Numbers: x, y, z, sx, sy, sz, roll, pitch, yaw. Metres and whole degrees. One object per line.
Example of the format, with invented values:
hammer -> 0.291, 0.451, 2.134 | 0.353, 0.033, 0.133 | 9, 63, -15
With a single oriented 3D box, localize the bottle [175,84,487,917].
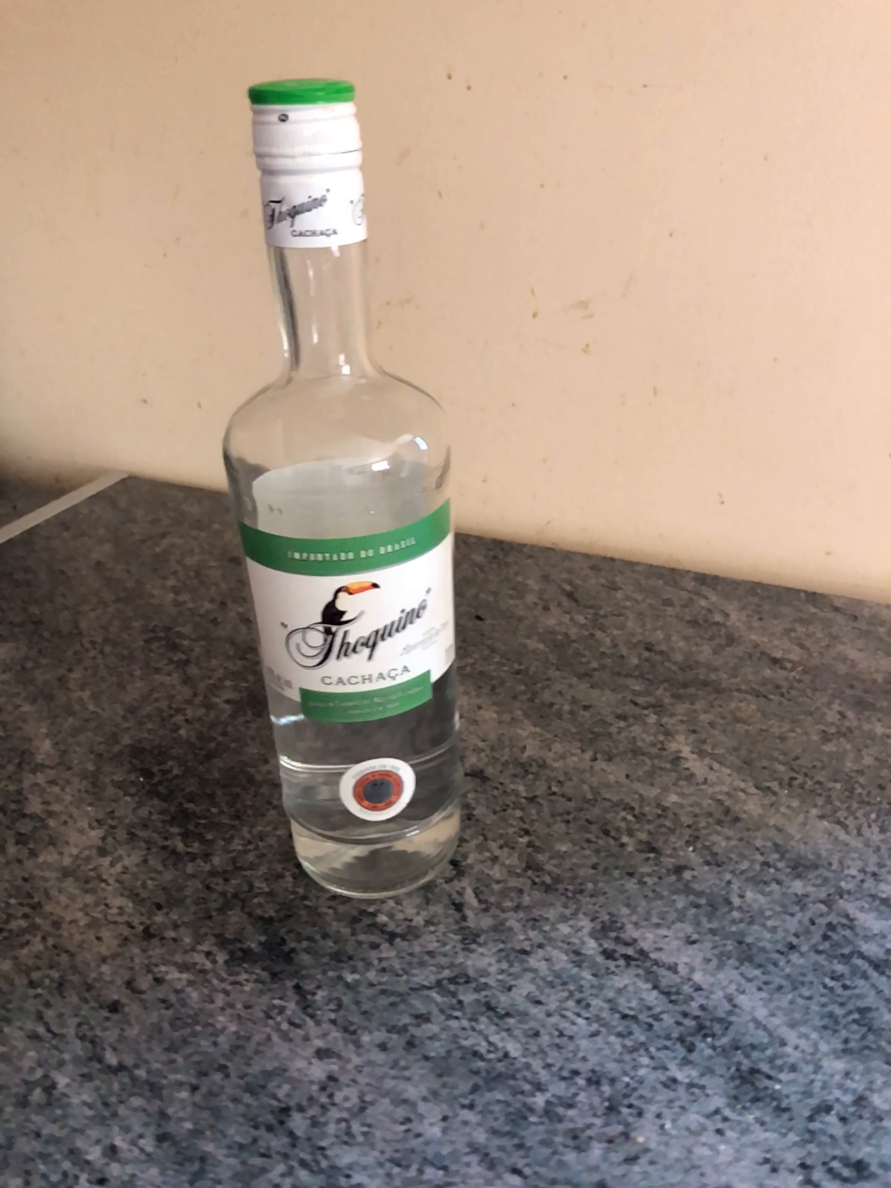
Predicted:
bottle -> -0.033, -0.024, 0.350 | 0.080, 0.278, 0.080 | -1, 27, 0
